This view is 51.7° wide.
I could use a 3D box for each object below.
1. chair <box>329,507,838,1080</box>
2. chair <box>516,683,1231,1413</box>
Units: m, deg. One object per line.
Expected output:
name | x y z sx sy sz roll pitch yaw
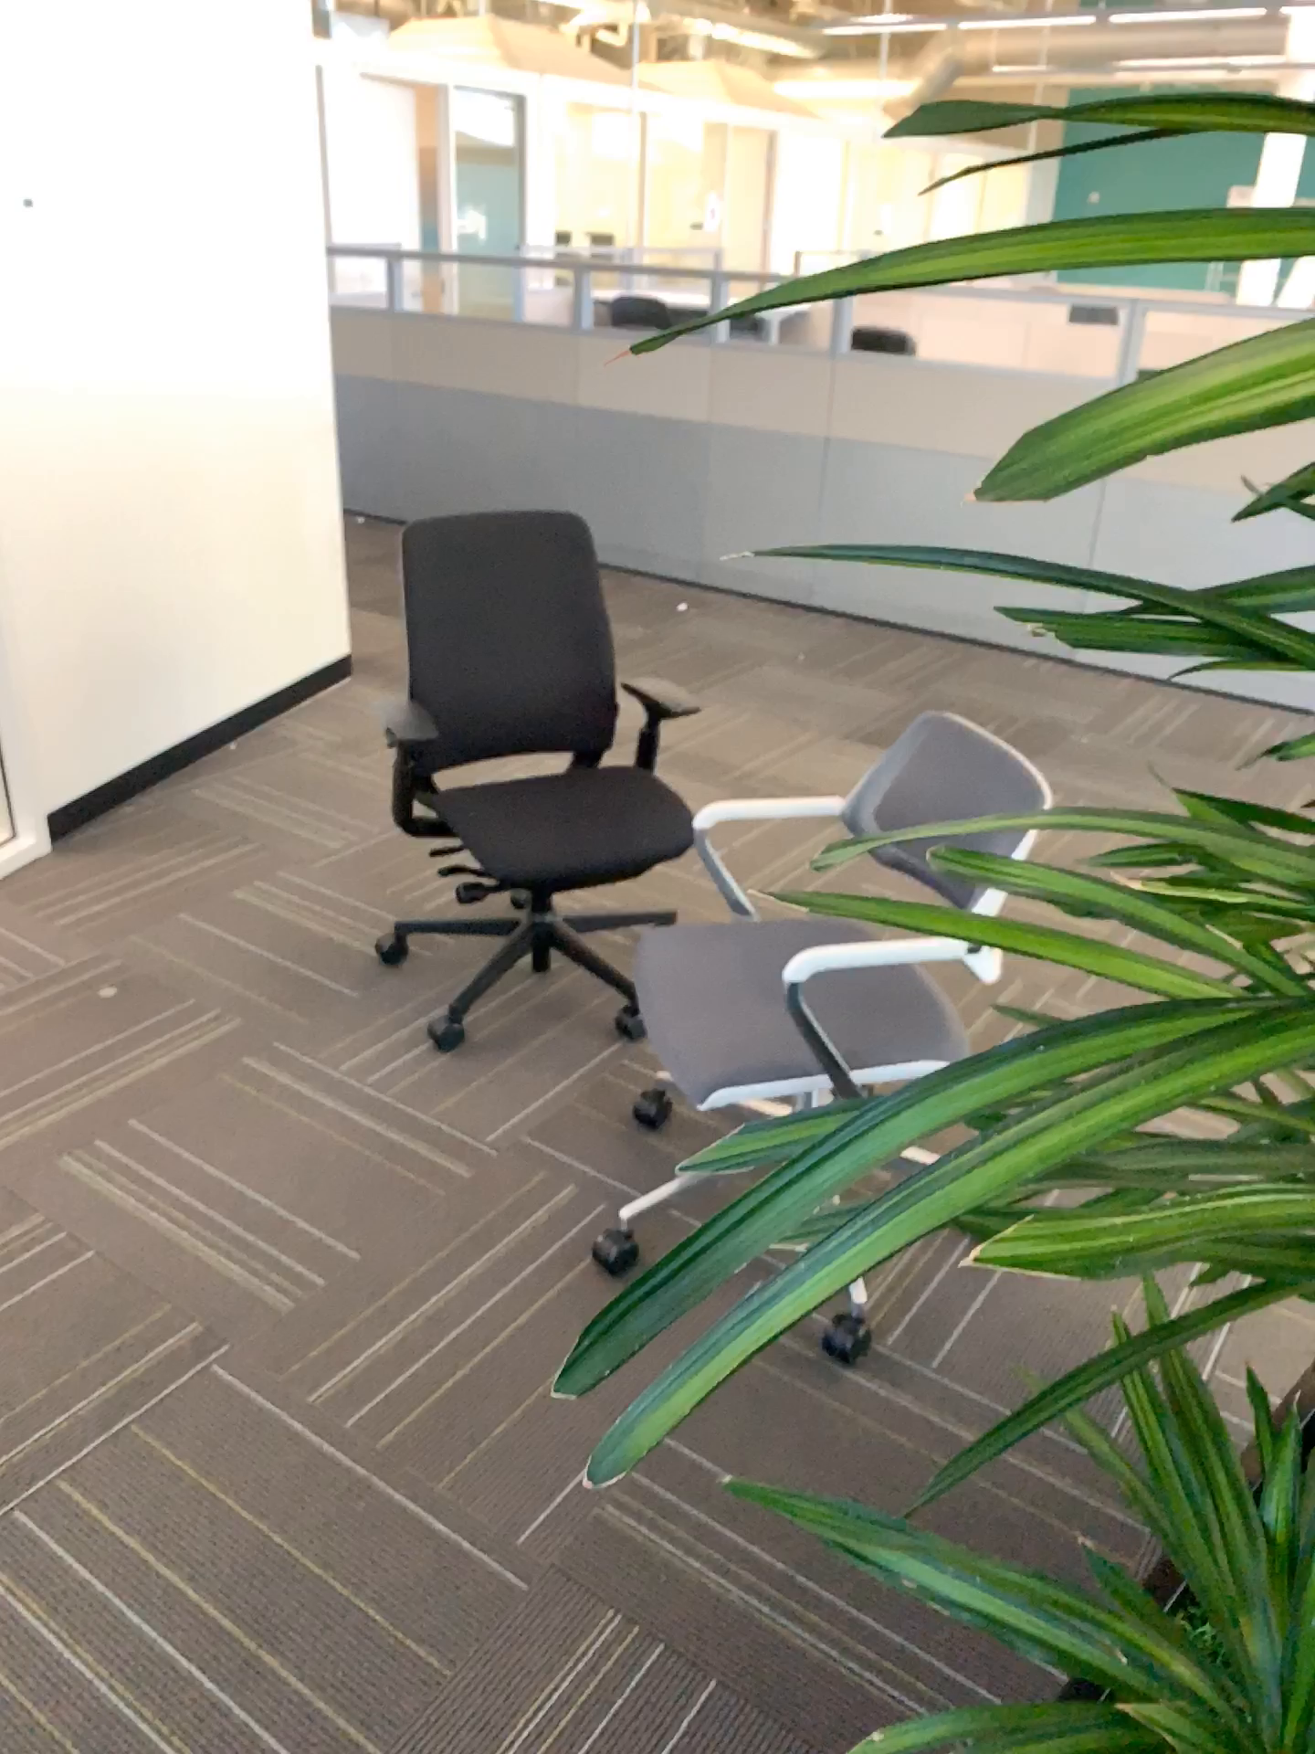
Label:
chair | -0.208 -0.239 2.873 0.800 0.885 0.855 -6 27 -18
chair | 0.246 0.195 2.186 0.790 0.756 0.805 -6 27 -16
